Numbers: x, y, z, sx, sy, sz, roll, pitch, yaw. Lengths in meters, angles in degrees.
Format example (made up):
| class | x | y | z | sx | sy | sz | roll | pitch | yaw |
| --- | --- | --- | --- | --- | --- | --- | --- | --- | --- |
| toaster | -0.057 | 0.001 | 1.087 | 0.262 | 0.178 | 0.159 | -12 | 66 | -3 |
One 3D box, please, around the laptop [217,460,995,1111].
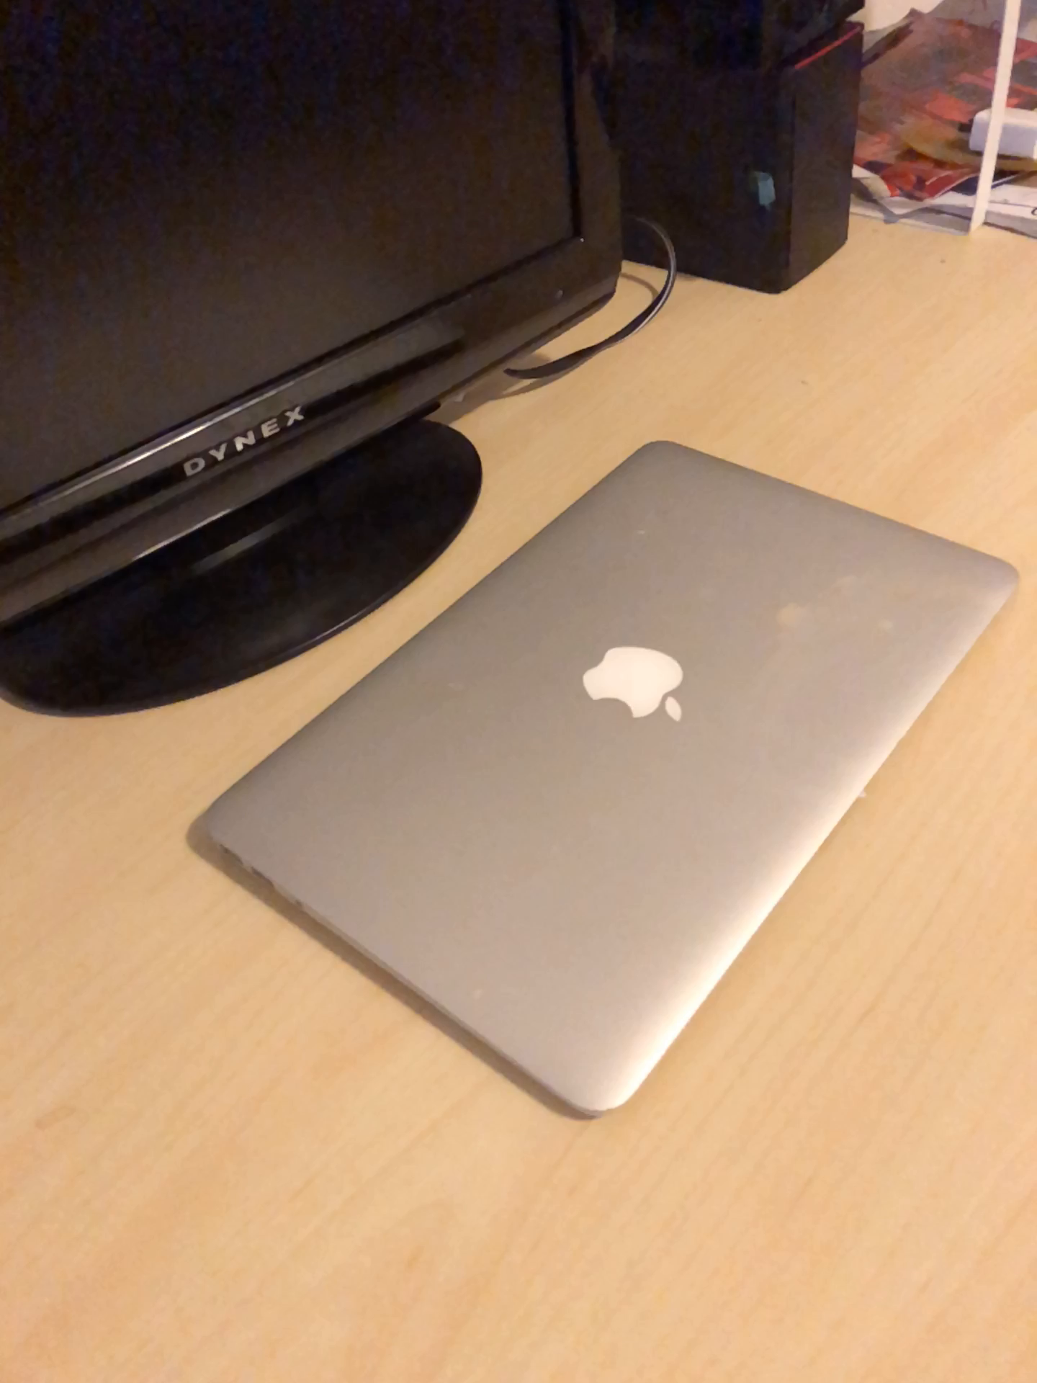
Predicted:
| class | x | y | z | sx | sy | sz | roll | pitch | yaw |
| --- | --- | --- | --- | --- | --- | --- | --- | --- | --- |
| laptop | 0.045 | 0.004 | 0.451 | 0.181 | 0.005 | 0.279 | 28 | 53 | 29 |
